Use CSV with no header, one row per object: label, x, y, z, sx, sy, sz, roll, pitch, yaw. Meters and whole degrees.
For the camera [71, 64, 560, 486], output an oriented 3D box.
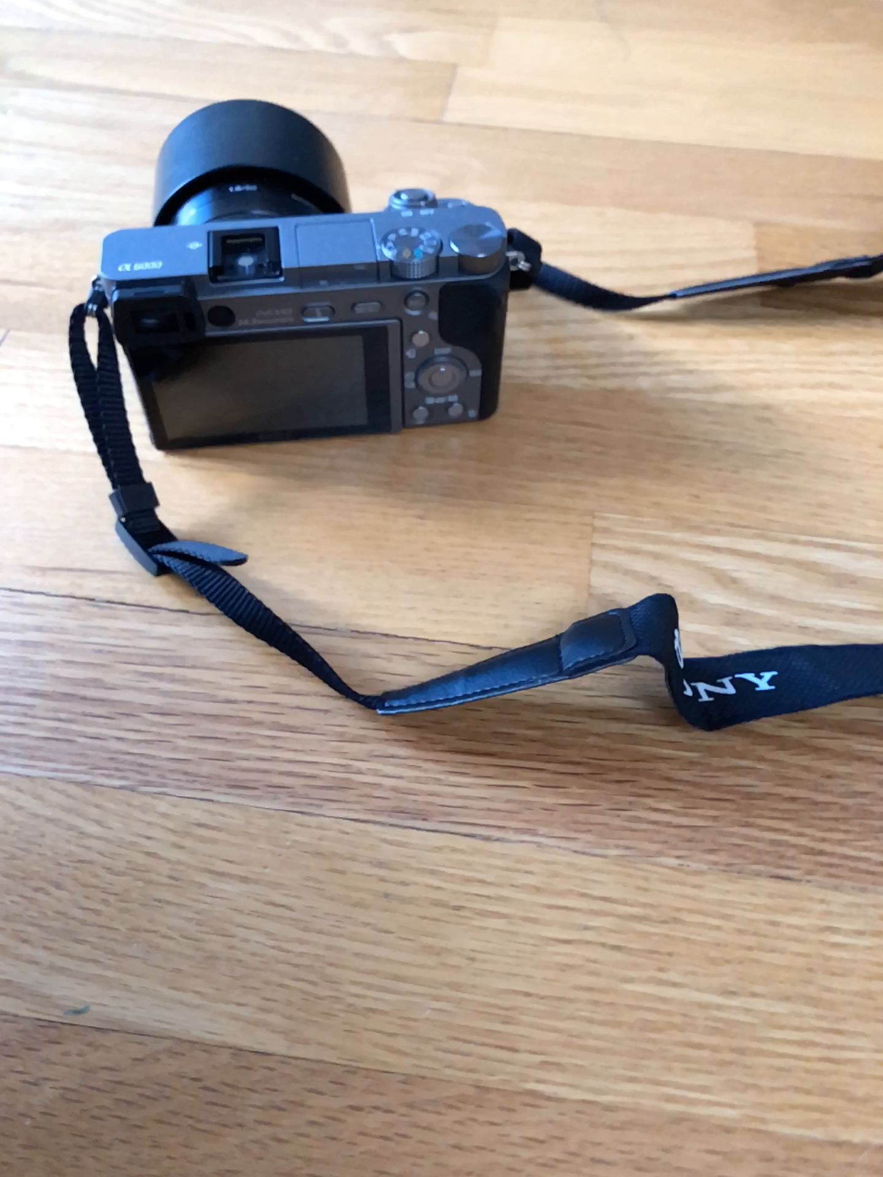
camera,-0.042,-0.108,0.337,0.136,0.079,0.107,-7,55,-6
